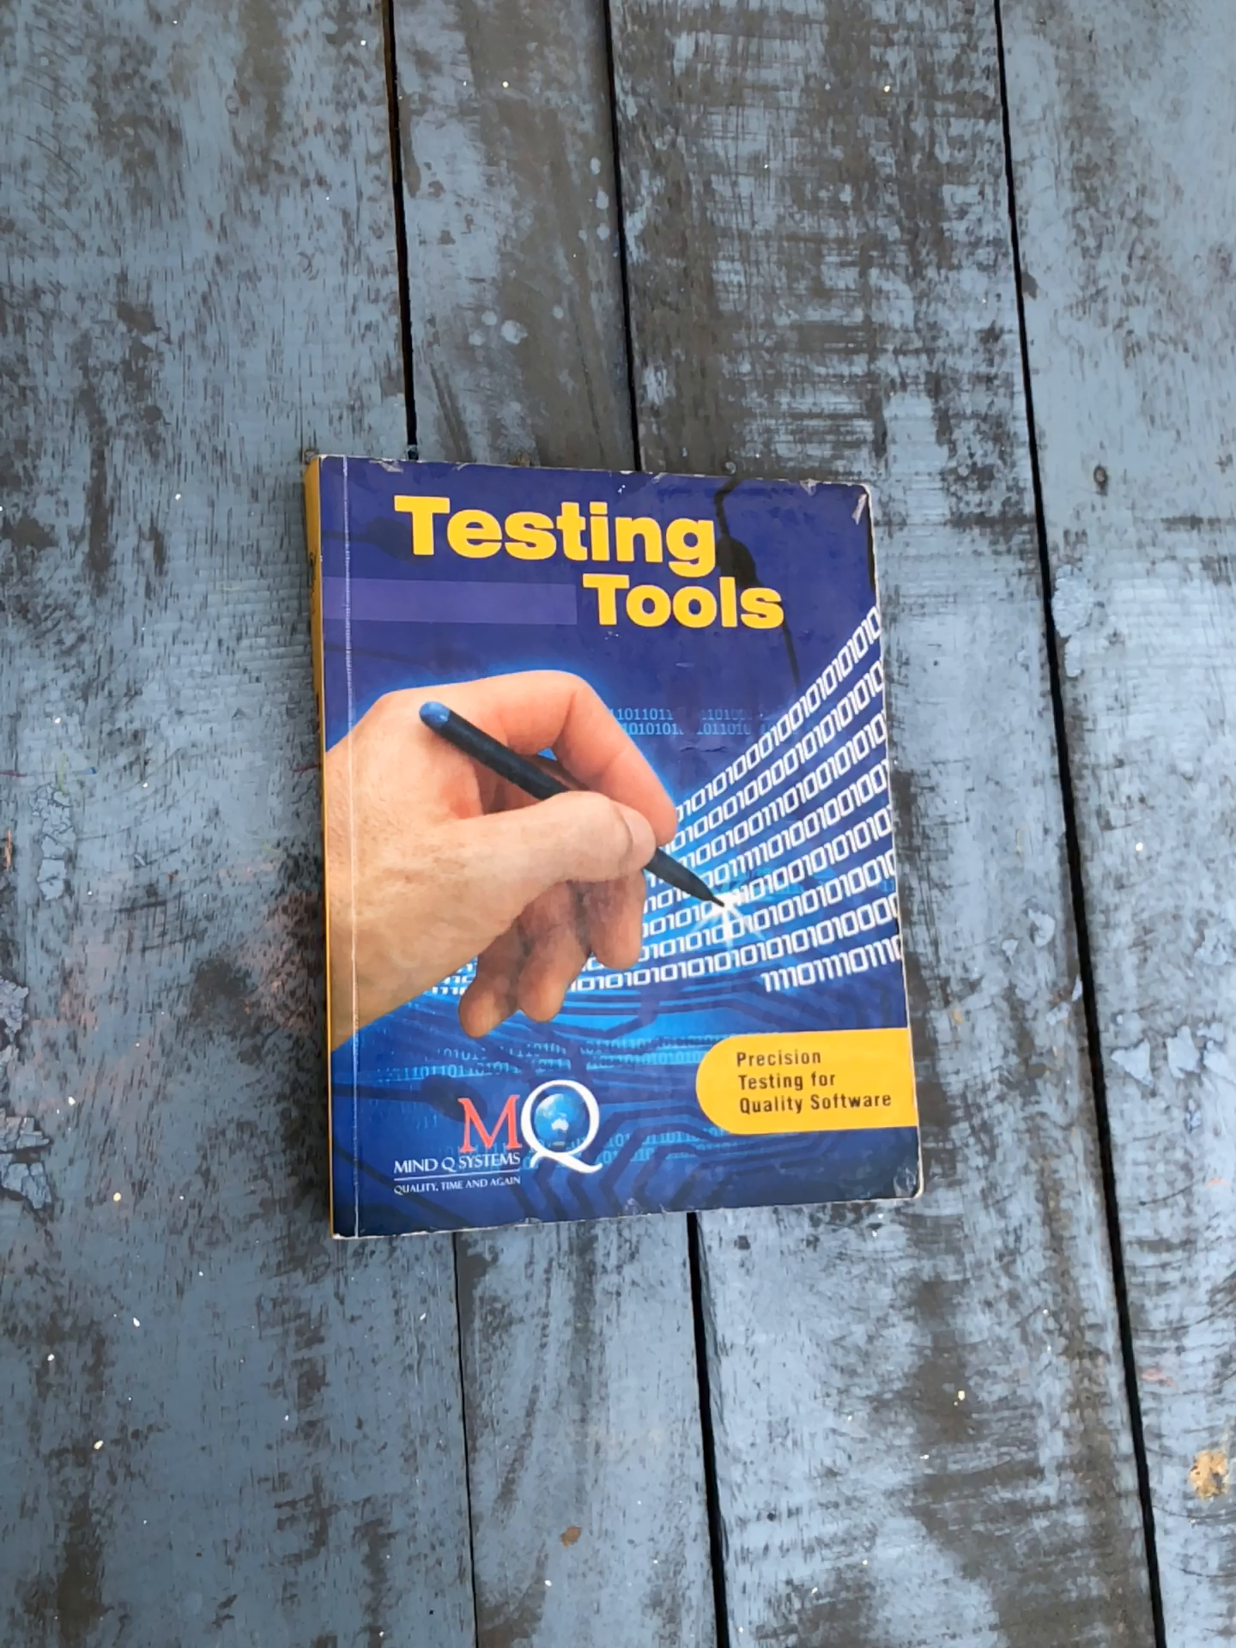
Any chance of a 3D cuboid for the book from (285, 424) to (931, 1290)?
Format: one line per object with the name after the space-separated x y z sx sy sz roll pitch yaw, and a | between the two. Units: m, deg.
-0.008 0.005 0.453 0.190 0.050 0.260 -2 82 -12 | book
